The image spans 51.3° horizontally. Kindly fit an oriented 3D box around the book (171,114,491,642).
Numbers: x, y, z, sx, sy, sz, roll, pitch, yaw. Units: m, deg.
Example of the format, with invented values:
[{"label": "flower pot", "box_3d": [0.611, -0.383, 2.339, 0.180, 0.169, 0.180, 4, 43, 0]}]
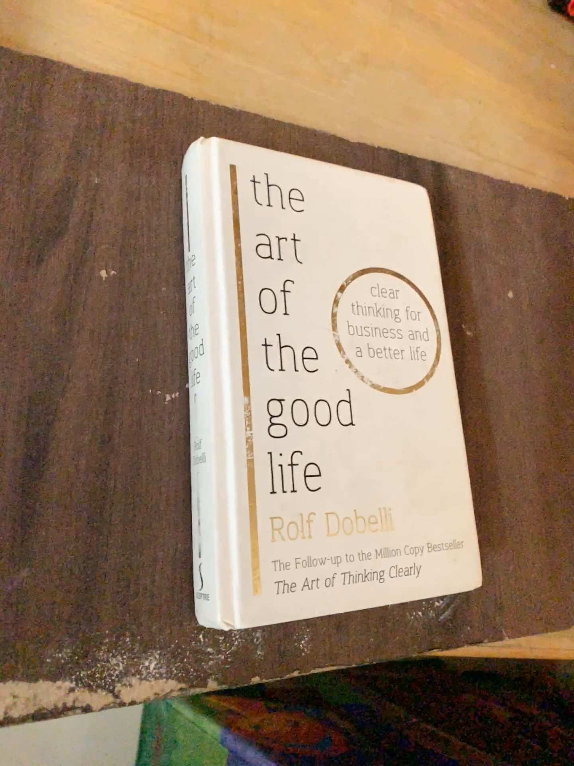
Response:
[{"label": "book", "box_3d": [0.016, -0.003, 0.242, 0.117, 0.037, 0.180, 3, 78, -26]}]
